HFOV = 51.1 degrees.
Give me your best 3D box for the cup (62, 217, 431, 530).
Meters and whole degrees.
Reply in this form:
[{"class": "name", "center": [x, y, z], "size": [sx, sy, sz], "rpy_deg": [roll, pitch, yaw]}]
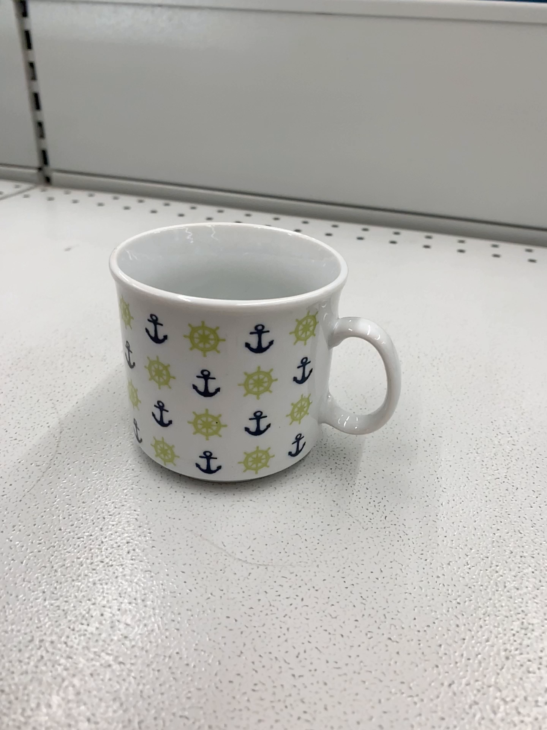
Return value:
[{"class": "cup", "center": [-0.007, -0.002, 0.201], "size": [0.096, 0.076, 0.078], "rpy_deg": [3, 28, 1]}]
